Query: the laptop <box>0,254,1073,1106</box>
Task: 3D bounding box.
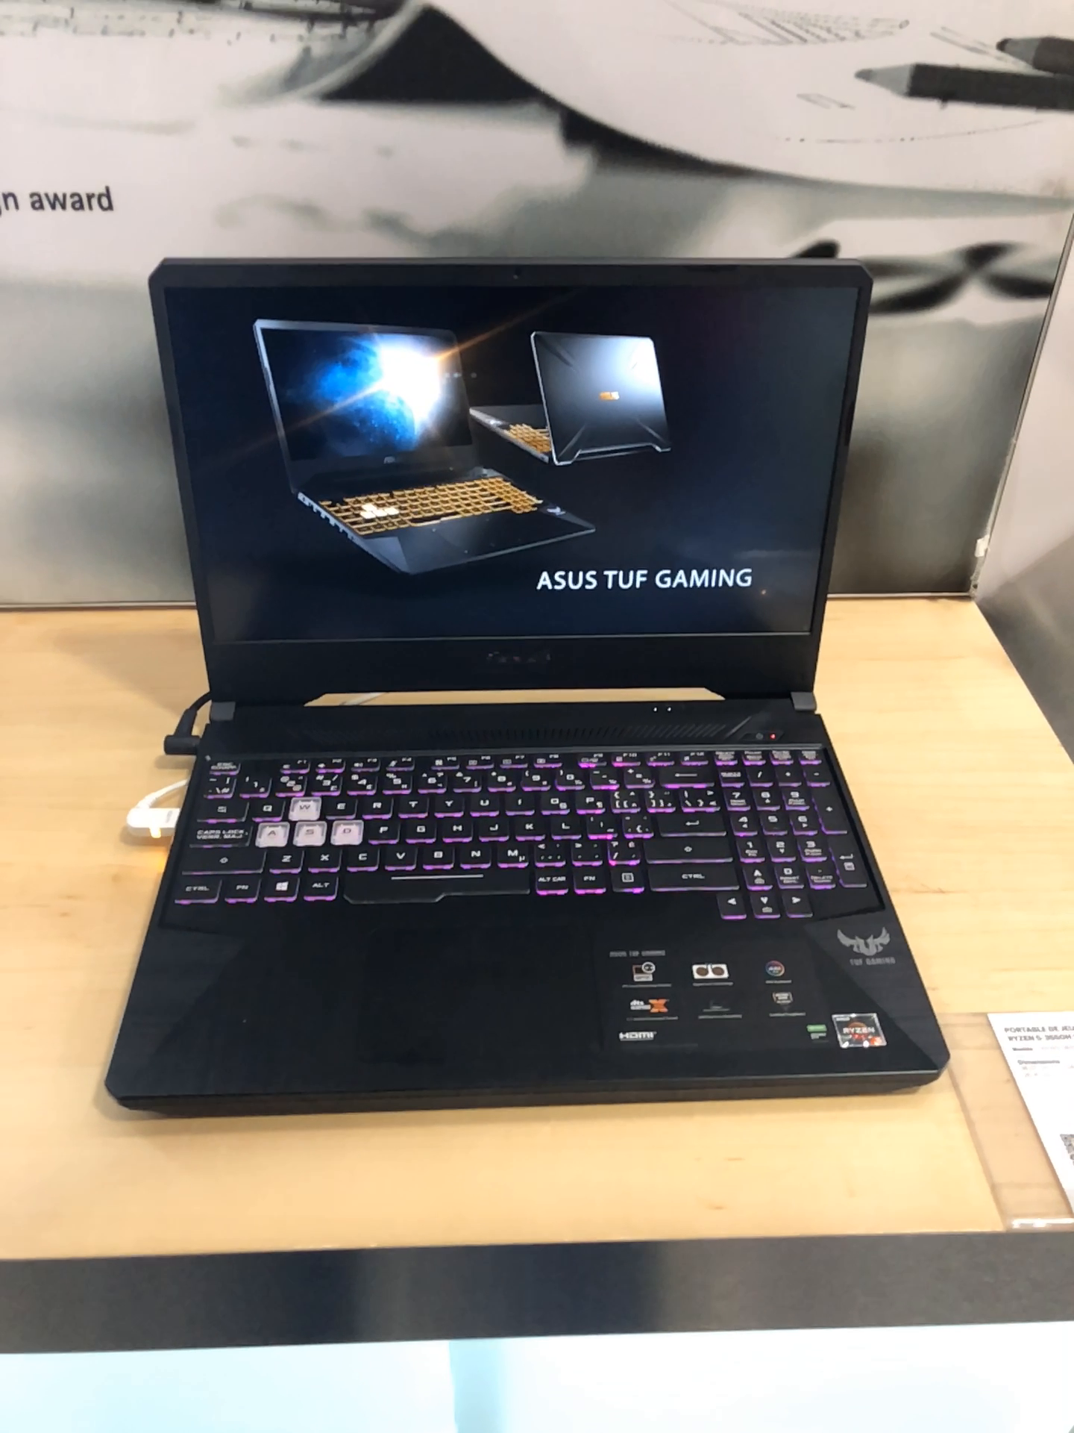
[{"bbox_3d":[-0.009,-0.037,0.543,0.358,0.245,0.310,-1,38,-3],"label":"laptop"}]
